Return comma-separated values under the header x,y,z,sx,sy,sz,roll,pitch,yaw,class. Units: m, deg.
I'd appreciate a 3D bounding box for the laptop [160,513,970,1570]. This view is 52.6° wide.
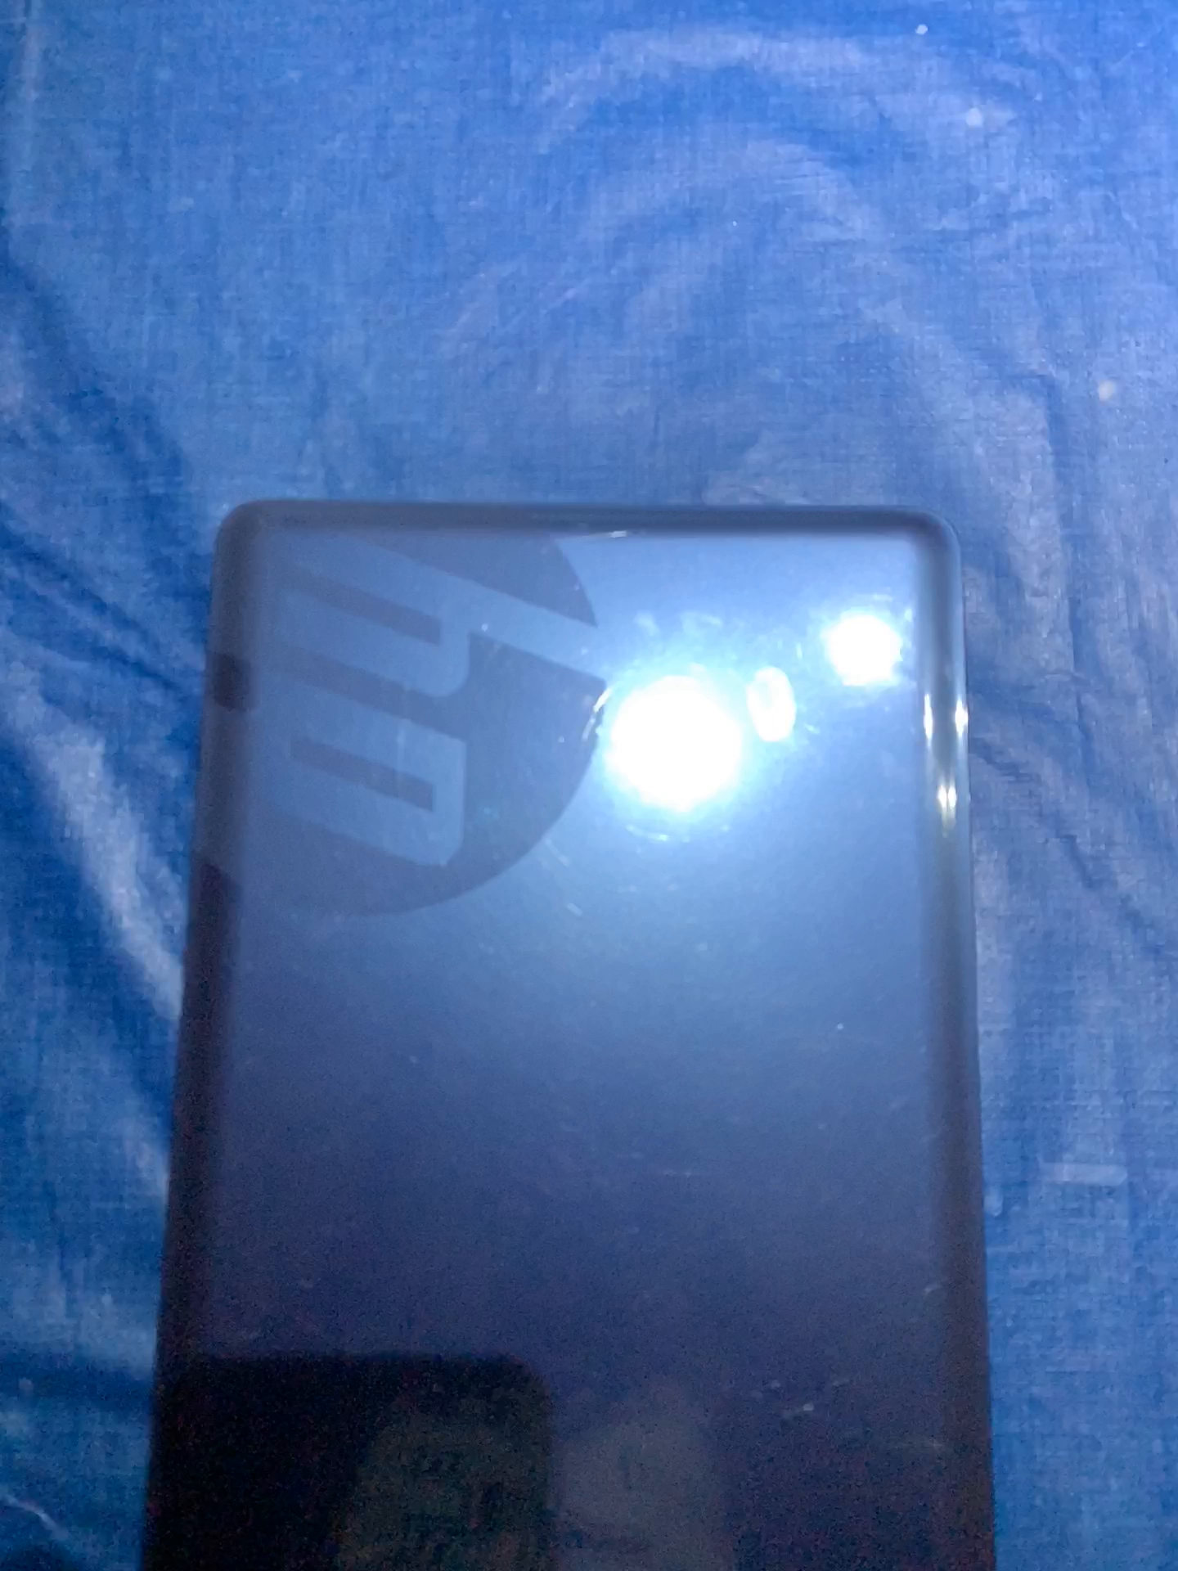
x,y,z,sx,sy,sz,roll,pitch,yaw,class
-0.003,0.092,0.374,0.235,0.009,0.363,1,82,0,laptop
